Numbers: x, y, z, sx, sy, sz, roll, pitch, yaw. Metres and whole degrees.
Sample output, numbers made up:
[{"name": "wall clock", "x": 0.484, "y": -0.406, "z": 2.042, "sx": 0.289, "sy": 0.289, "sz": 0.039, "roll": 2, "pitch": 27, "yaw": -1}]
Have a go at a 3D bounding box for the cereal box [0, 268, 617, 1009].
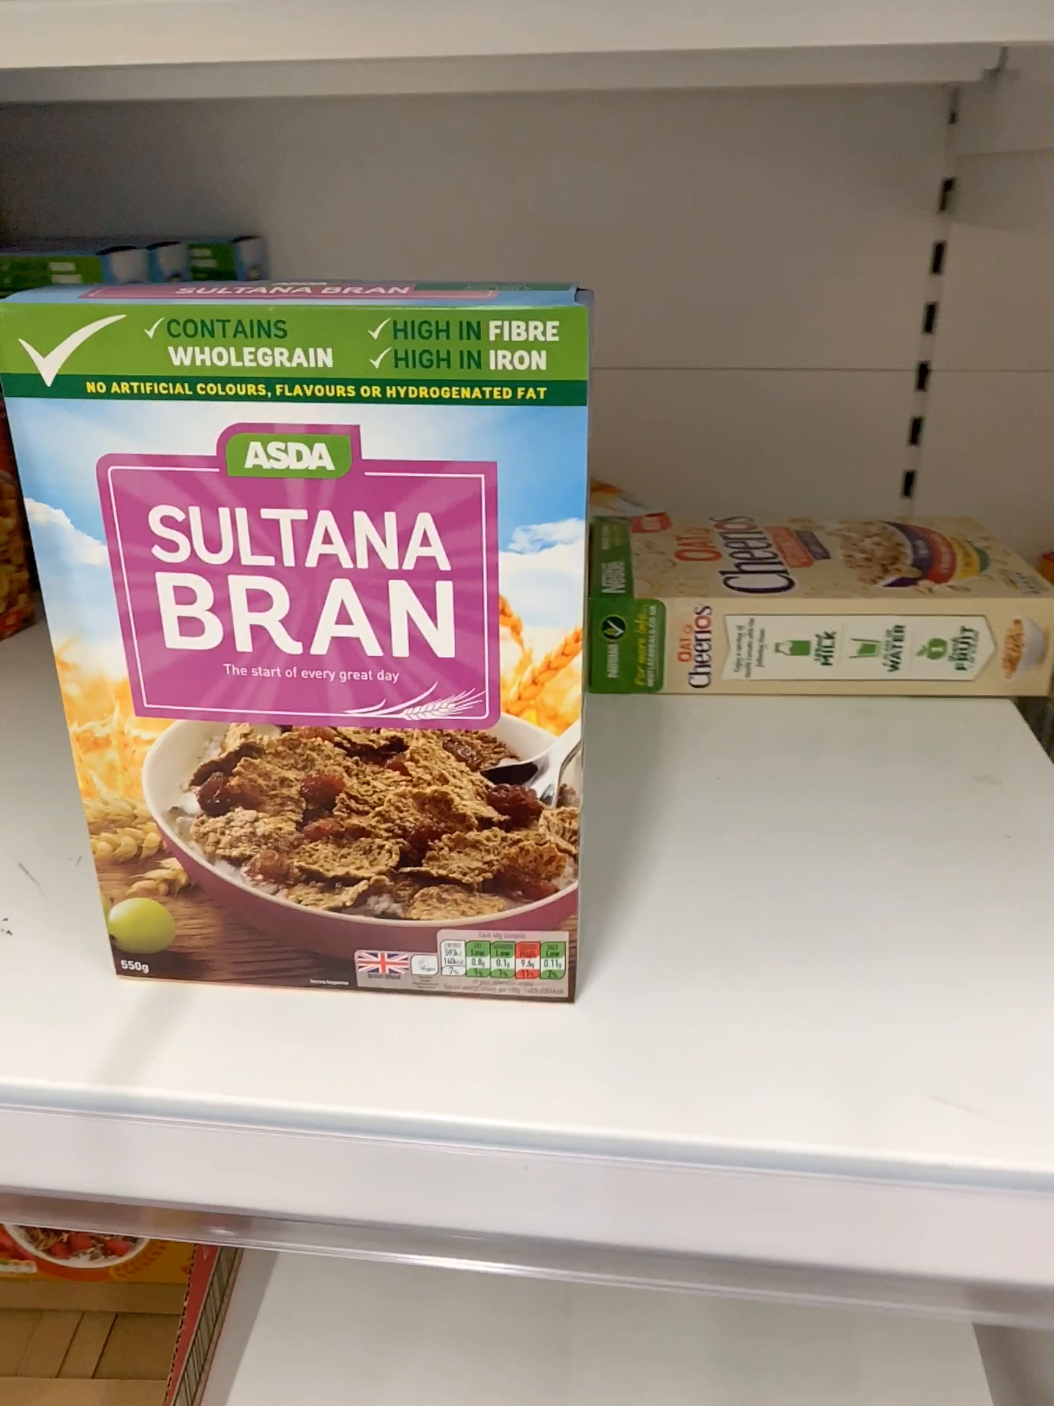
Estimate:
[{"name": "cereal box", "x": -0.075, "y": -0.019, "z": 0.415, "sx": 0.210, "sy": 0.268, "sz": 0.071, "roll": 2, "pitch": 25, "yaw": 5}]
